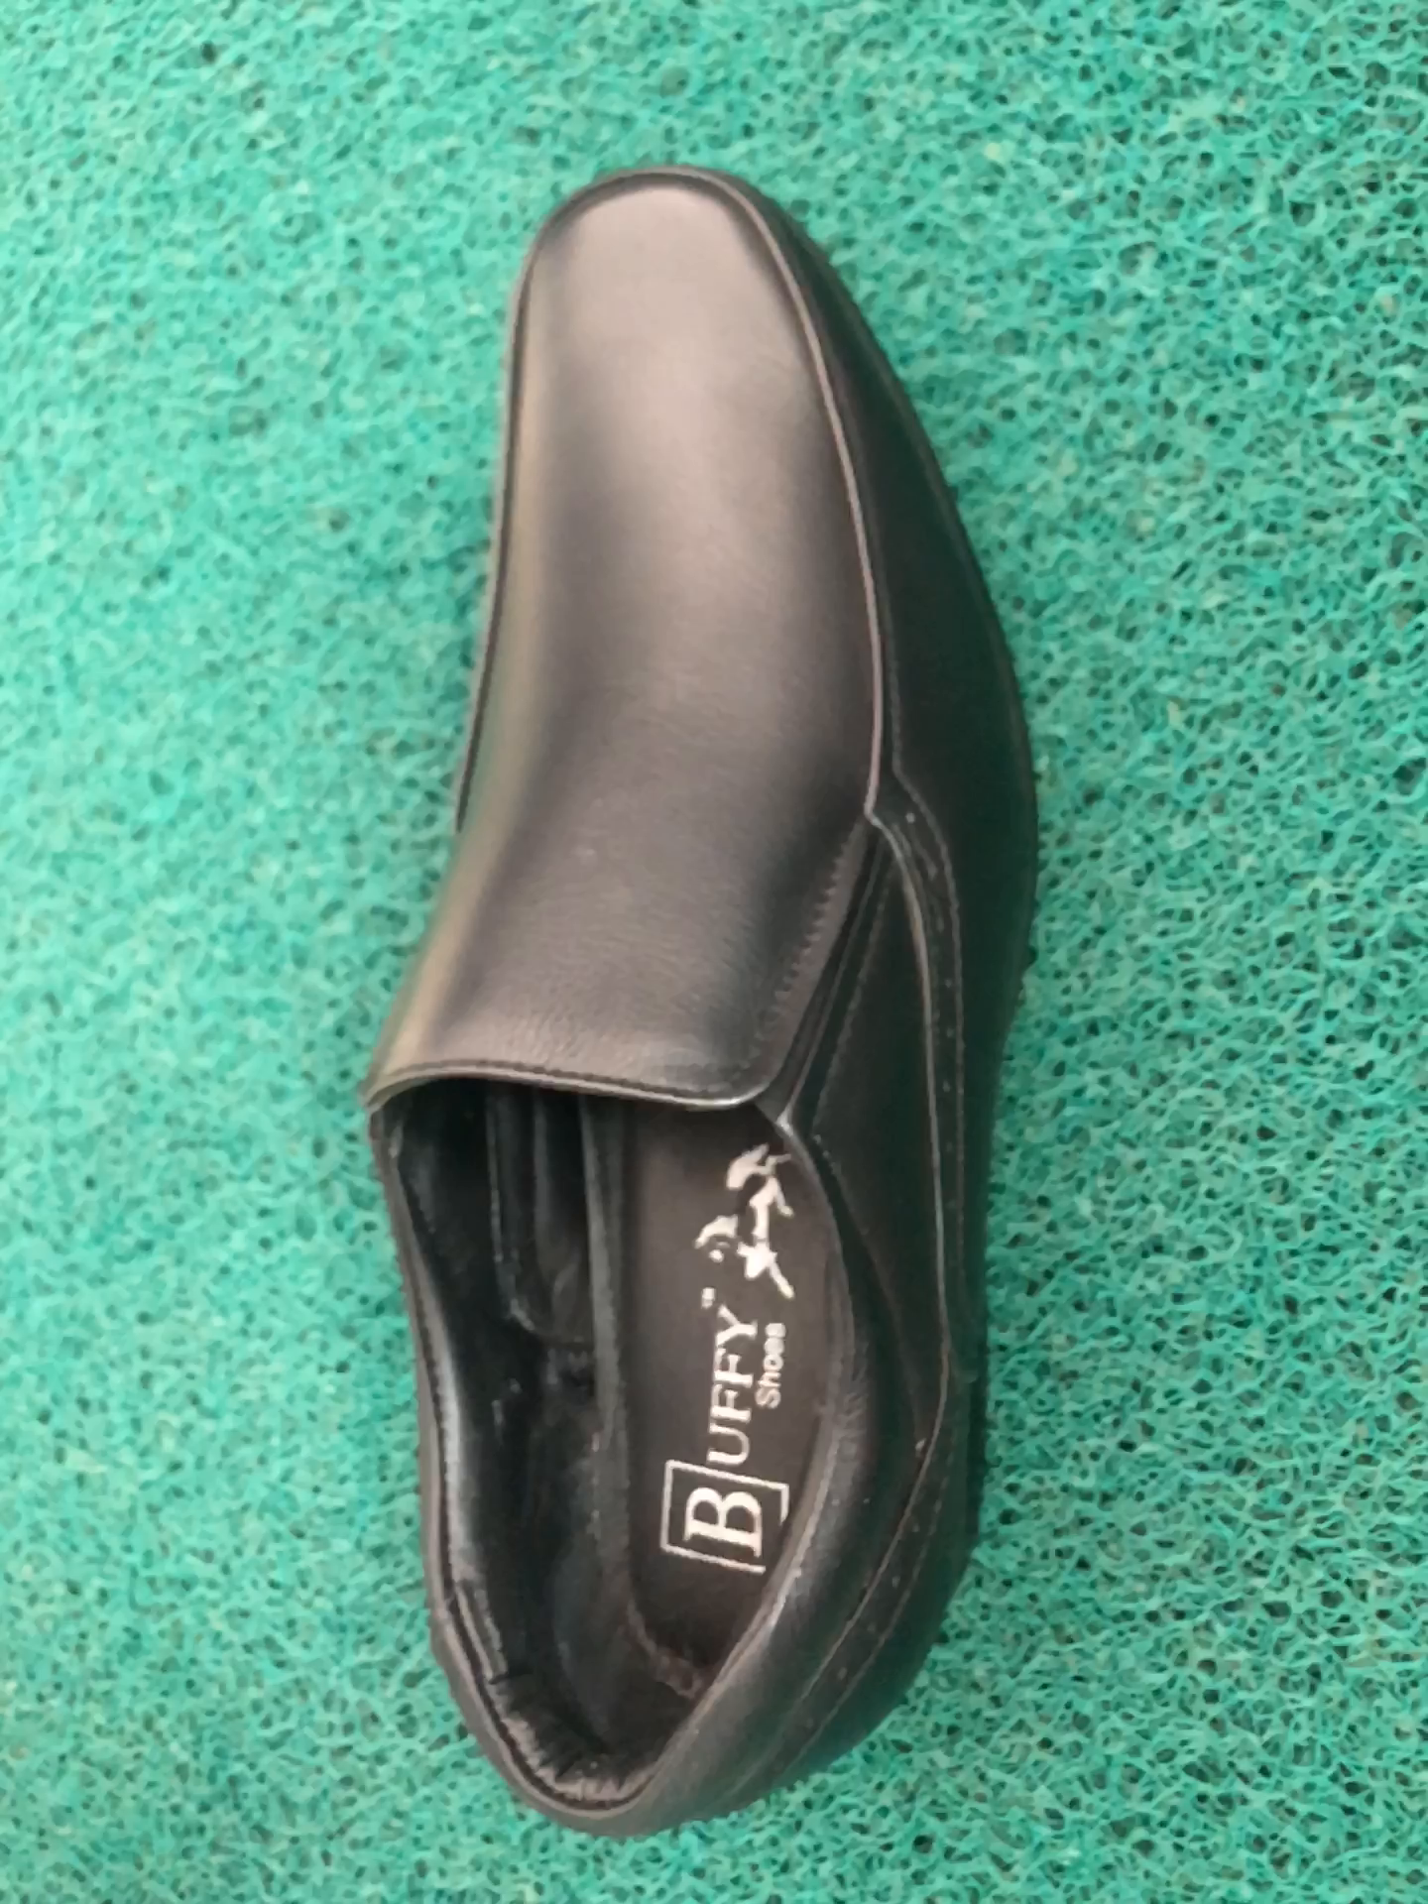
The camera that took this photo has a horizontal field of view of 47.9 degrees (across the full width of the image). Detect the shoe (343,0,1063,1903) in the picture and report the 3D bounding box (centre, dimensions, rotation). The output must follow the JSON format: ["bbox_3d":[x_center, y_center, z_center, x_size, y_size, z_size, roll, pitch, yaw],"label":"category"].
[{"bbox_3d":[0.002,-0.007,0.293,0.100,0.090,0.310,-1,88,25],"label":"shoe"}]
